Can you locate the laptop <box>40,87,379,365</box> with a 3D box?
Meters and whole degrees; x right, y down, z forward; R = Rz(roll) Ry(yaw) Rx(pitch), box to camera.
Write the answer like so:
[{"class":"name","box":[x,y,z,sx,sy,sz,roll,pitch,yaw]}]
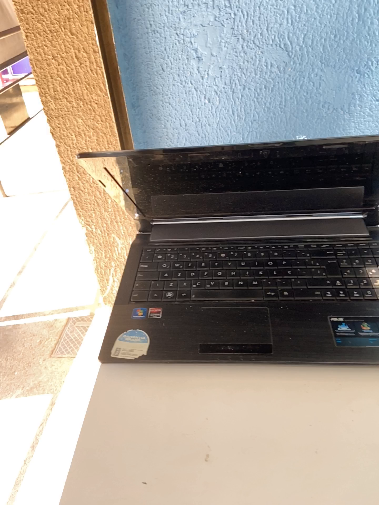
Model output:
[{"class":"laptop","box":[0.089,-0.041,0.464,0.387,0.208,0.256,-1,37,6]}]
